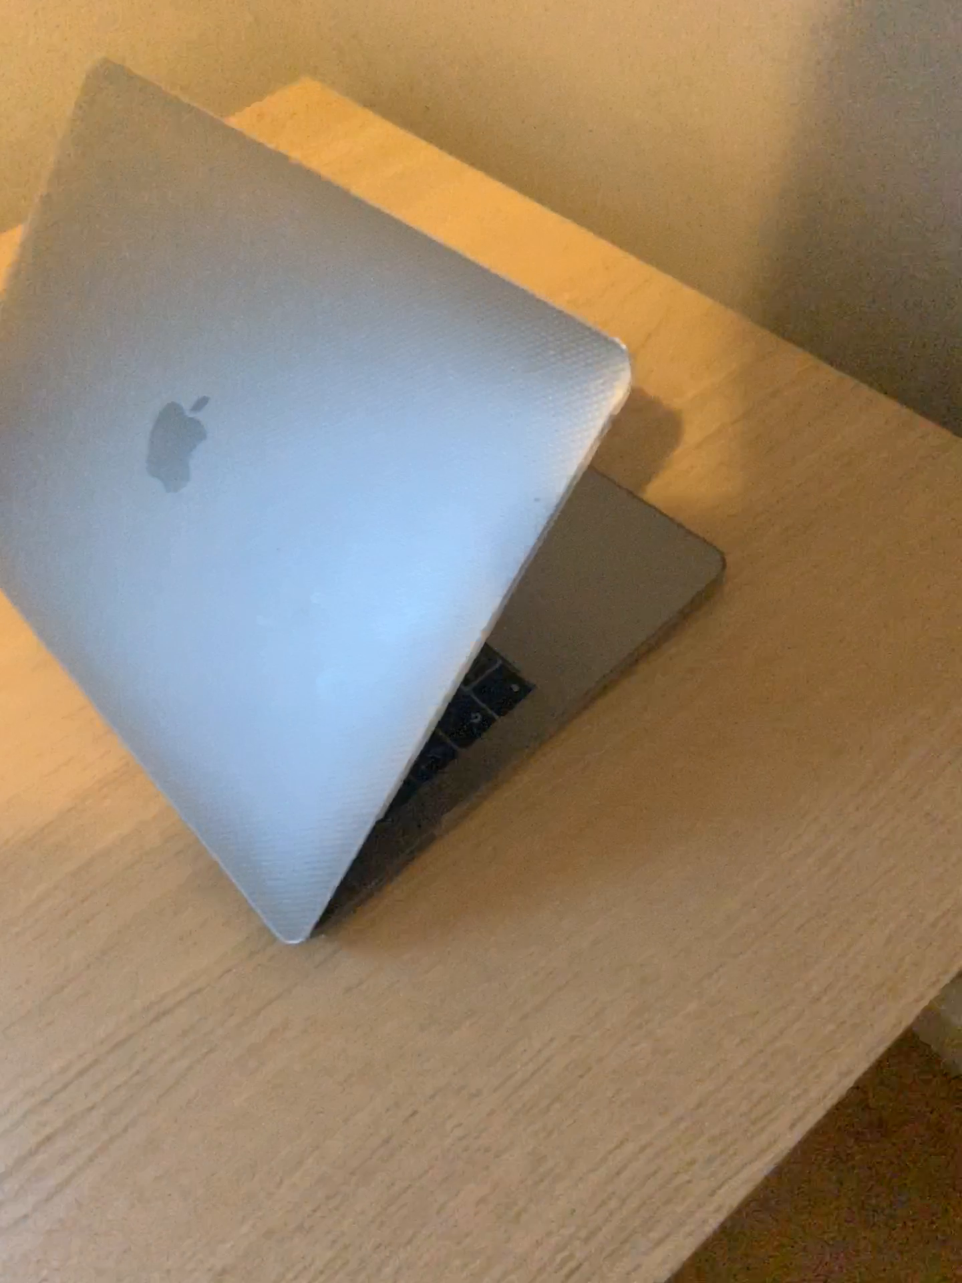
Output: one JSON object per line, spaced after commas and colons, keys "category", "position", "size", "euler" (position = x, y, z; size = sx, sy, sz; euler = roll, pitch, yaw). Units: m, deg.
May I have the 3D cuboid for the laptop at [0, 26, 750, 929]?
{"category": "laptop", "position": [-0.091, -0.091, 0.381], "size": [0.207, 0.127, 0.310], "euler": [-39, 58, -19]}
